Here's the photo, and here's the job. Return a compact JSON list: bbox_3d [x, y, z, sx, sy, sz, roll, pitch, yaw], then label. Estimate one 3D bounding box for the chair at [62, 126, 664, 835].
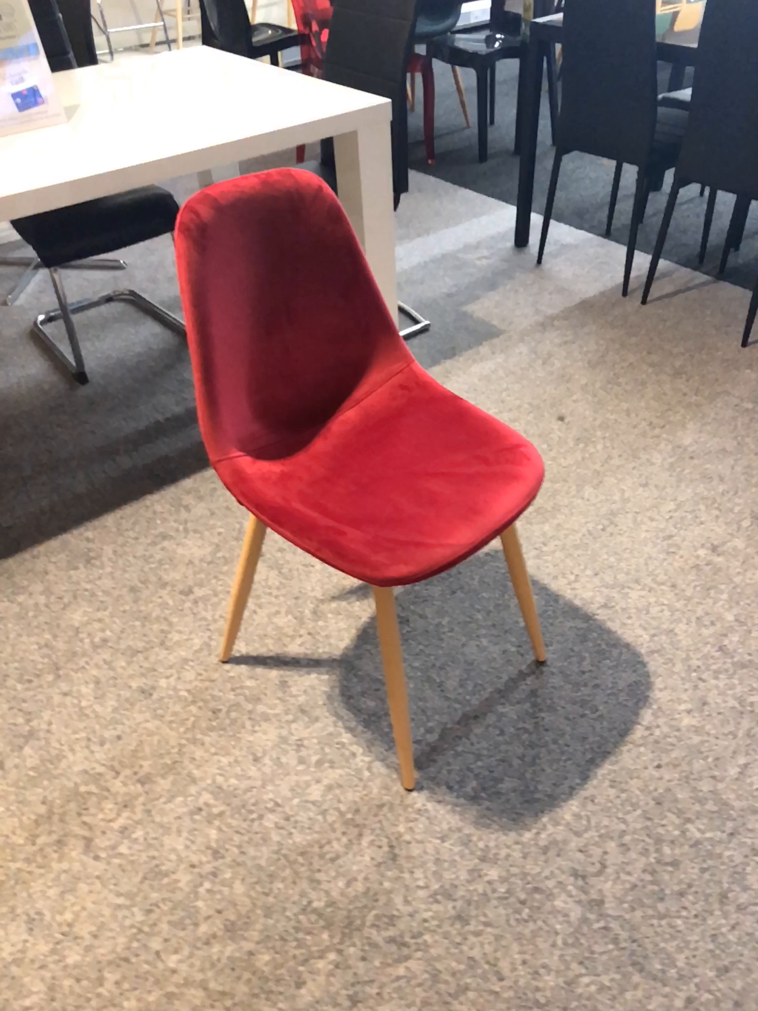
[{"bbox_3d":[-0.010,-0.057,1.307,0.533,0.815,0.550,-33,48,-32],"label":"chair"}]
